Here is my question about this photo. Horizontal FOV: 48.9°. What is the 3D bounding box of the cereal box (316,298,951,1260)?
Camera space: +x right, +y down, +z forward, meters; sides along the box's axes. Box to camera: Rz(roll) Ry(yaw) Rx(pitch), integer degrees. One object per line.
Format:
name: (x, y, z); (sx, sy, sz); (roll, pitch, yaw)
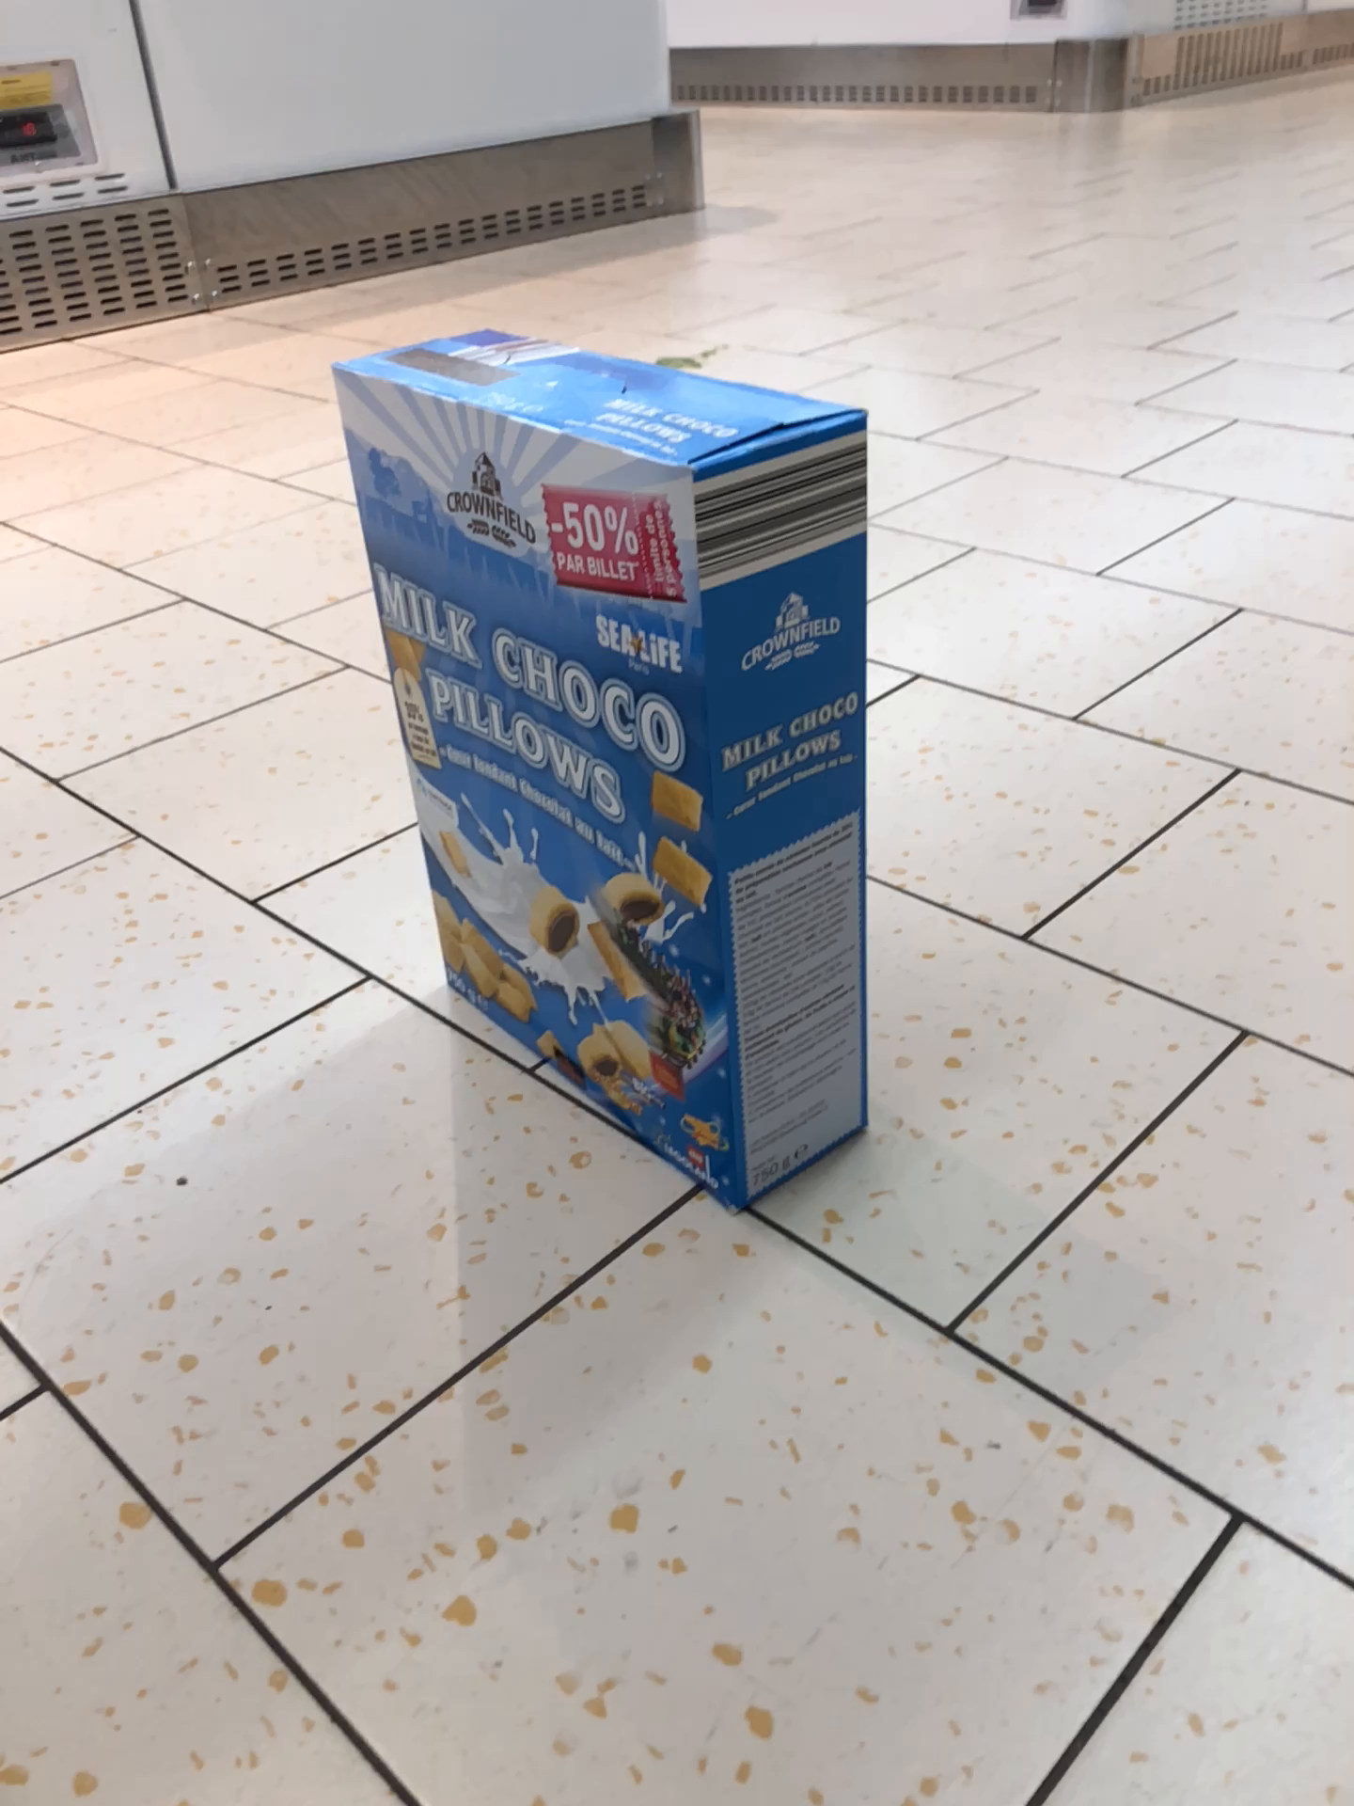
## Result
cereal box: (-0.016, -0.051, 0.505); (0.080, 0.259, 0.210); (-24, 36, -29)
